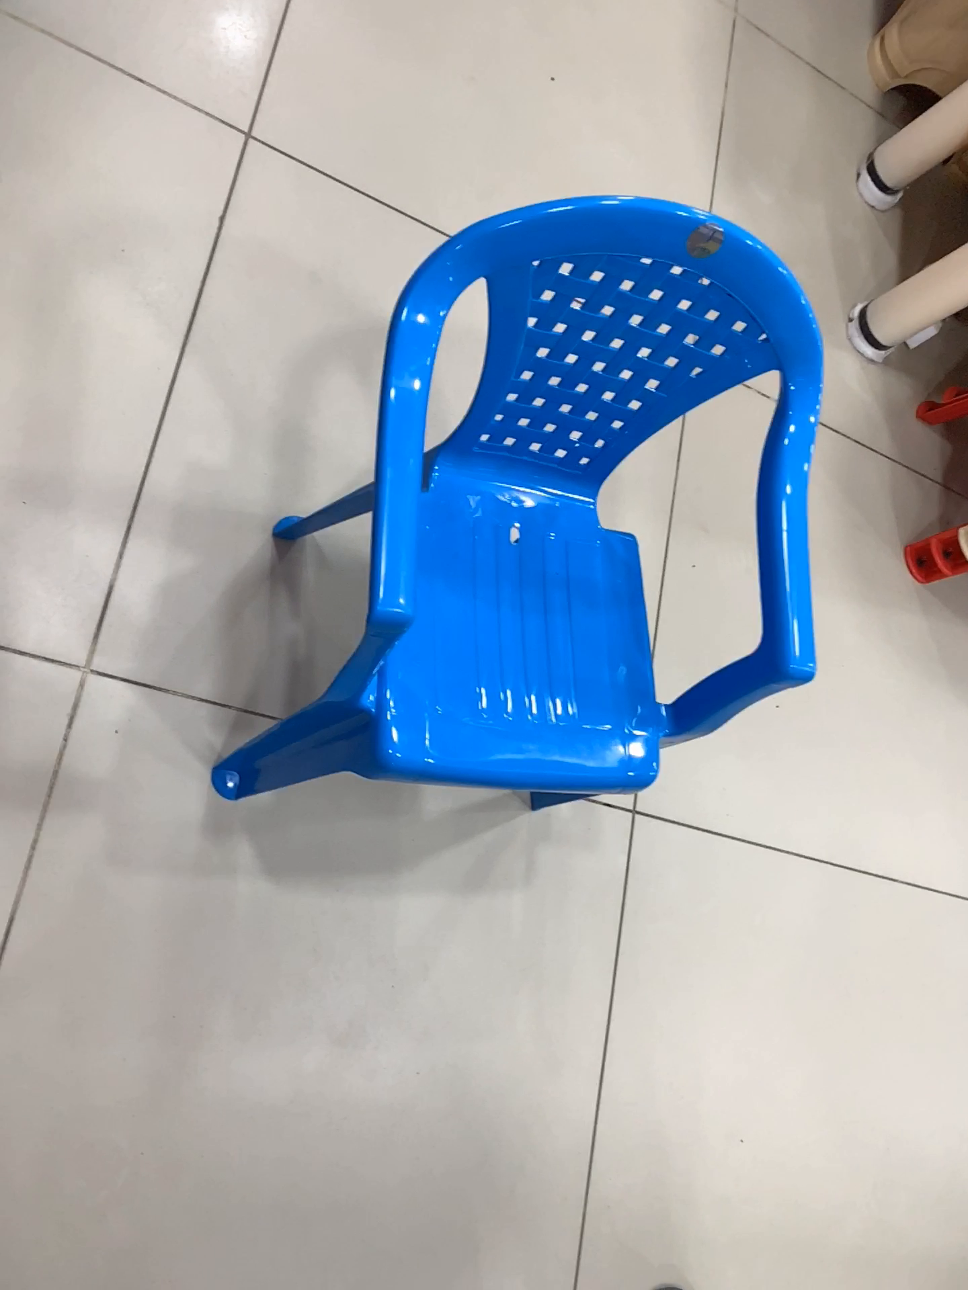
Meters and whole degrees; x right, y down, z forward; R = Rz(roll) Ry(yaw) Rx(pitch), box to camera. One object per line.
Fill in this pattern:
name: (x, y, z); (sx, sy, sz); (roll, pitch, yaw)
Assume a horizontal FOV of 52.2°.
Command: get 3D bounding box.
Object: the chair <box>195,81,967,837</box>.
chair: (0.036, -0.044, 0.755); (0.371, 0.499, 0.340); (9, 74, -26)
